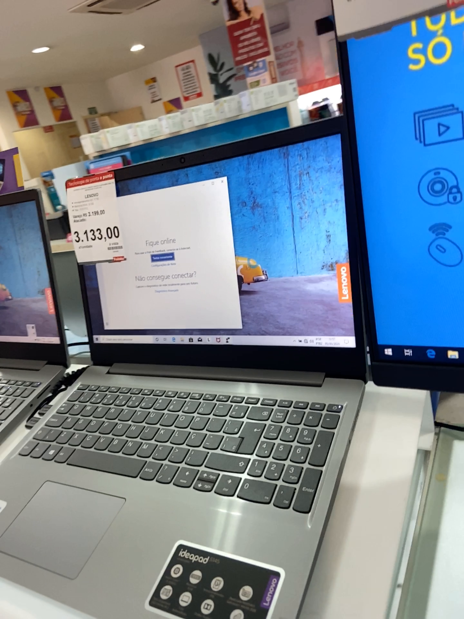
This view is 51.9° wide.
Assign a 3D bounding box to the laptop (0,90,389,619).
[{"bbox_3d":[-0.087,0.009,0.444,0.363,0.224,0.361,-2,31,31],"label":"laptop"}]
